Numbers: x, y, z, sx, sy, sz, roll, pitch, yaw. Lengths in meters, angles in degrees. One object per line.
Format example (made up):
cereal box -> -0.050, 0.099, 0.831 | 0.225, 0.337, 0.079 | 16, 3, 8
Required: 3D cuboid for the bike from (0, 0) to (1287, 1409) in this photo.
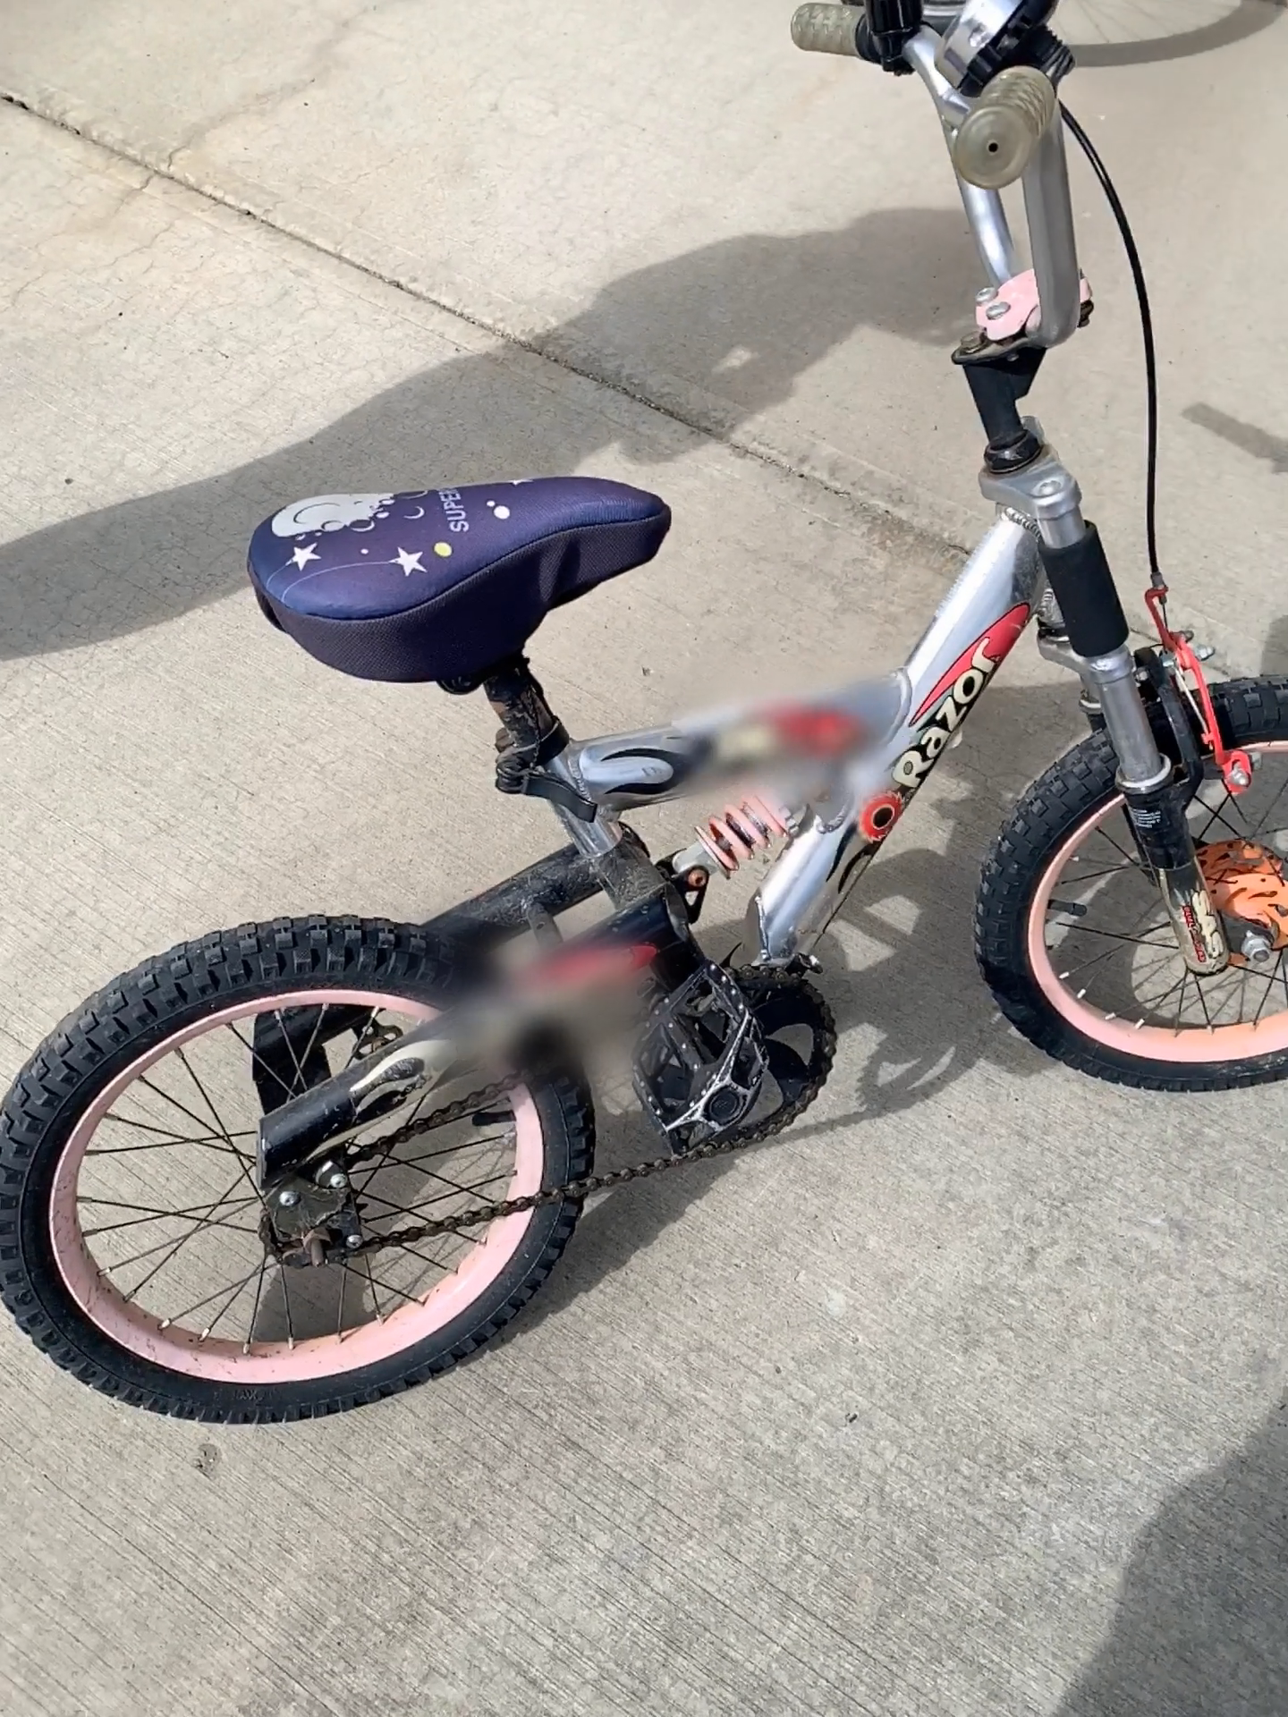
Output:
bike -> 0.092, -0.120, 0.848 | 1.123, 0.692, 0.359 | -17, 57, -16
